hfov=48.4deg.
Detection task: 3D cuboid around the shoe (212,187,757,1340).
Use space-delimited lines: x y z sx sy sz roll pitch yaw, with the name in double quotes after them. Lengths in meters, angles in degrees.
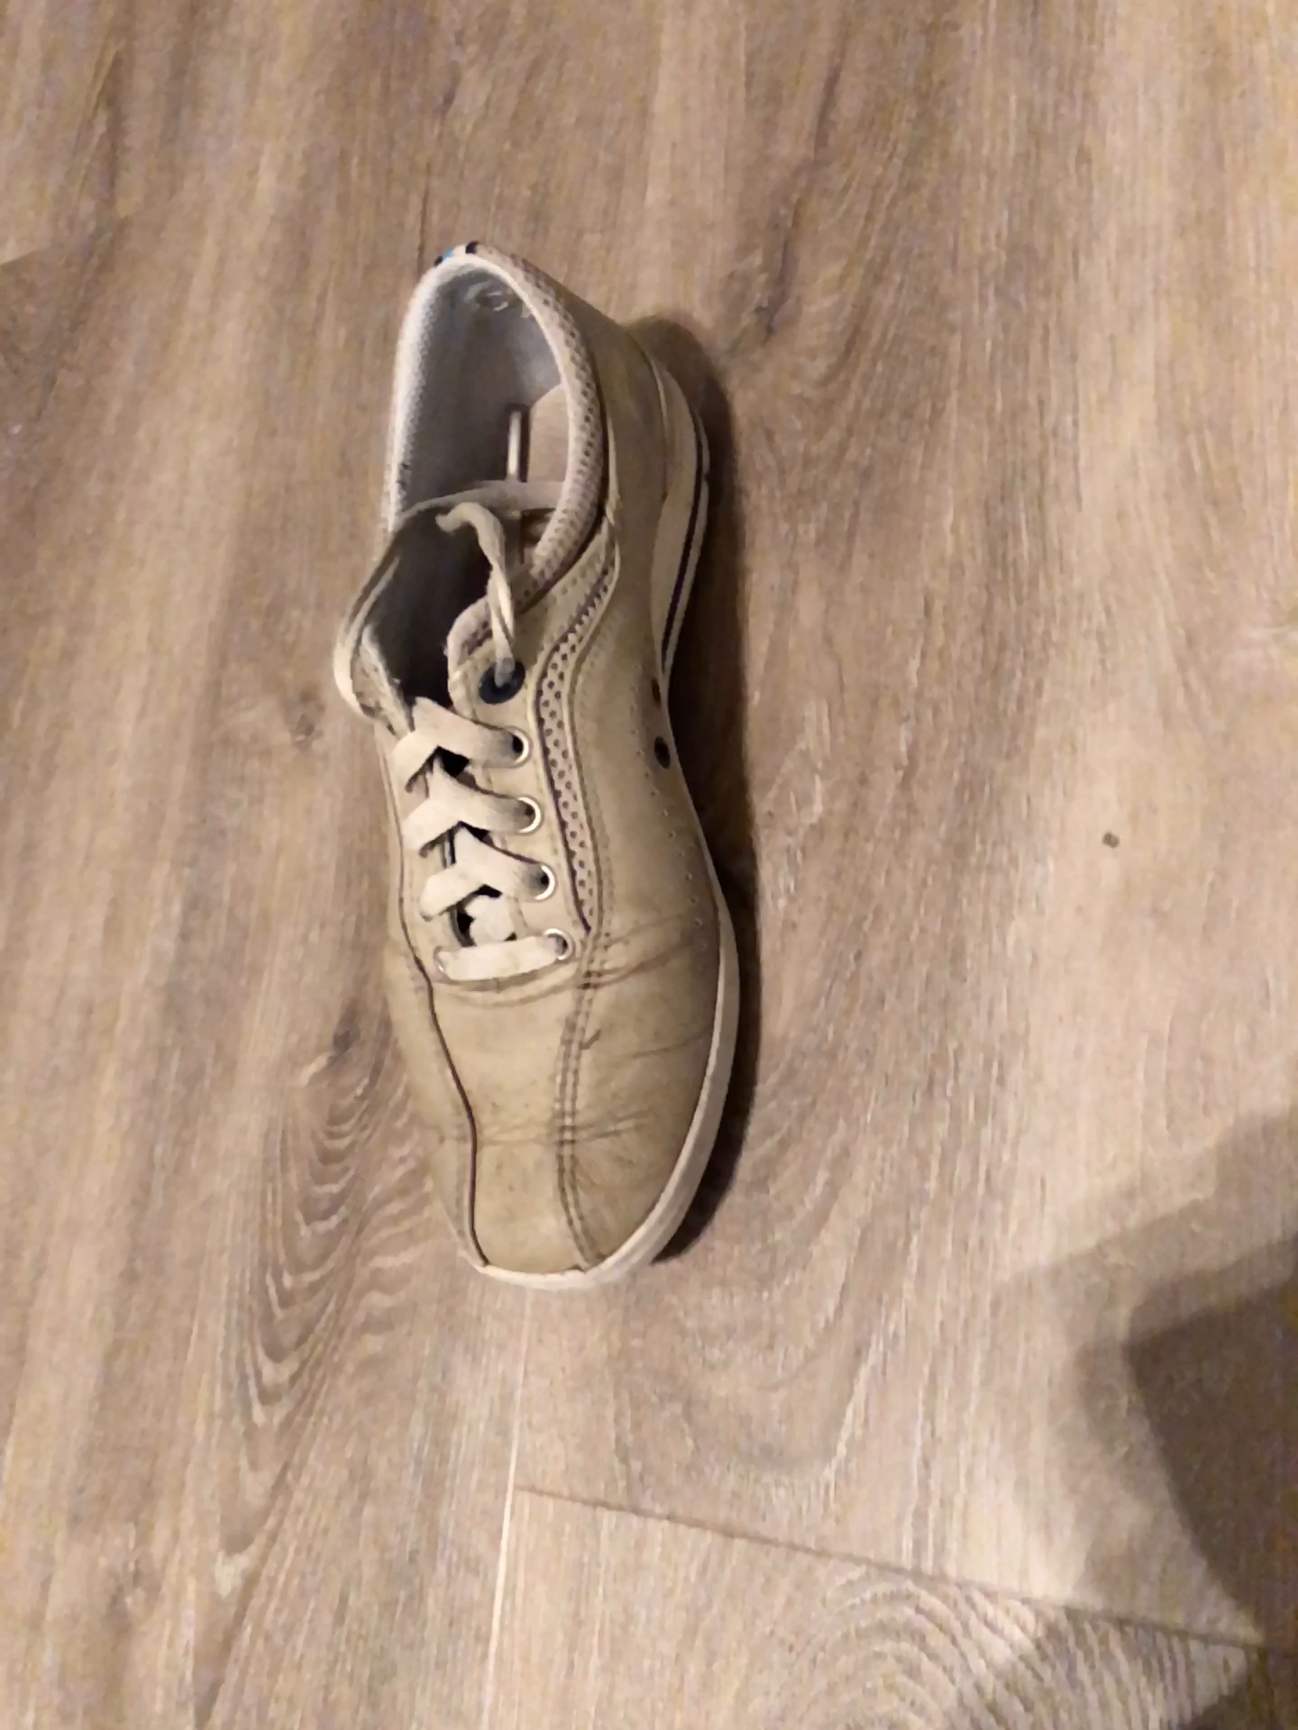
-0.032 -0.021 0.347 0.090 0.070 0.250 -7 72 29 "shoe"
